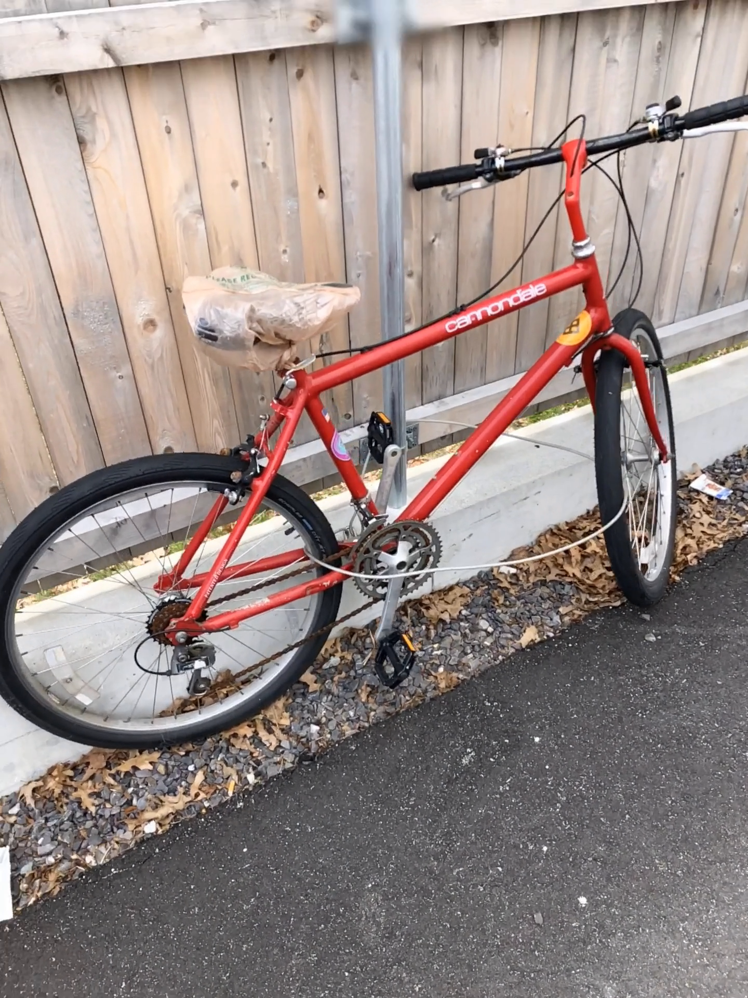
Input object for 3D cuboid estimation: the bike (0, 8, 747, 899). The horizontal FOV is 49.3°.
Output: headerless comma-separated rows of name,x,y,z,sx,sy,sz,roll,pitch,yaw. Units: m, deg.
bike,-0.018,-0.209,1.540,1.478,1.001,0.595,-23,38,-21
